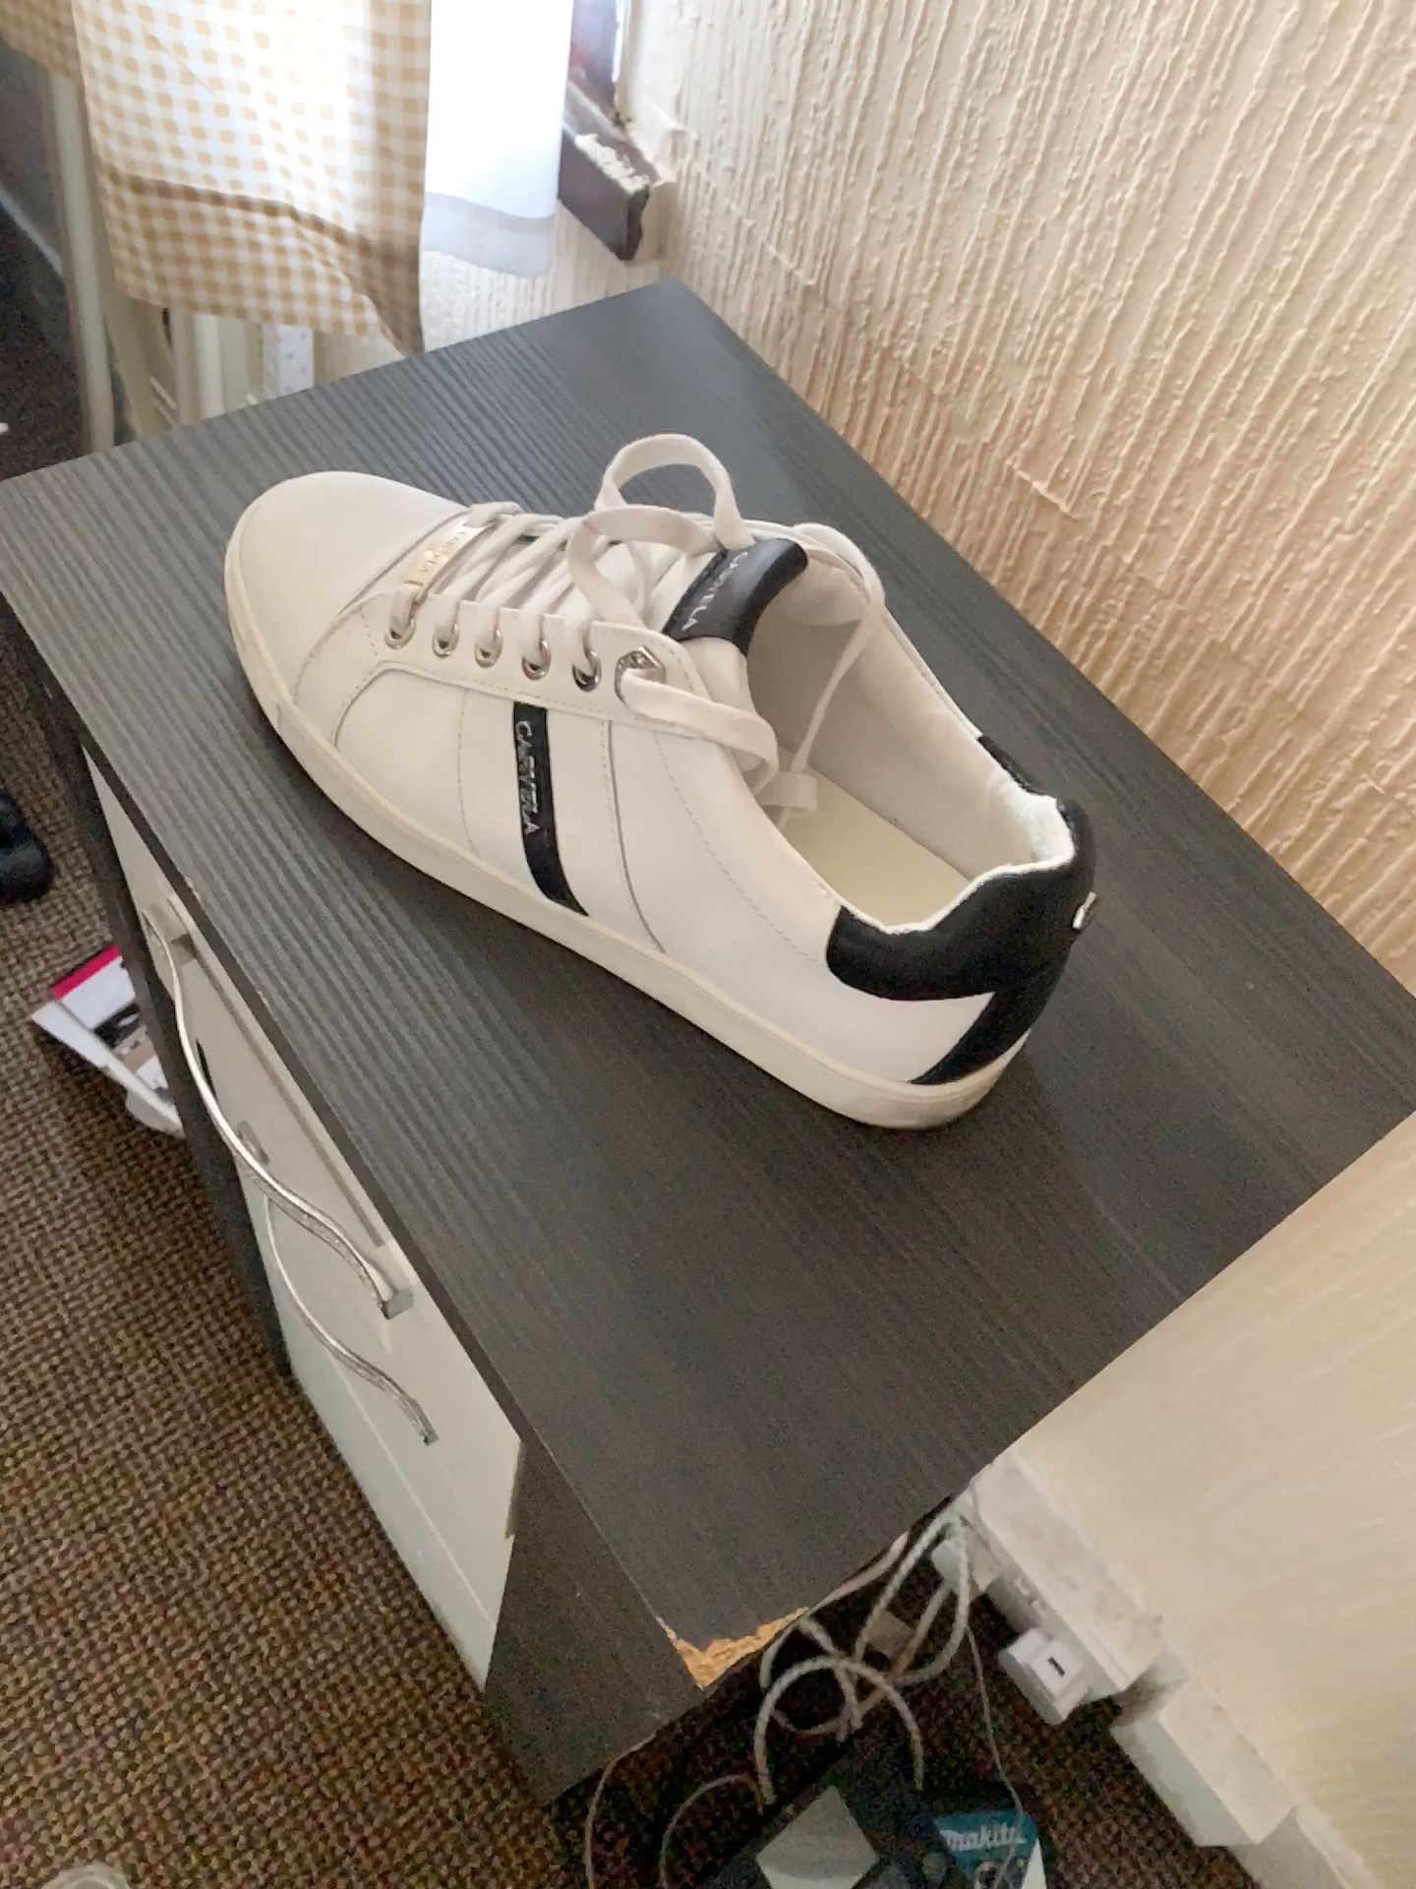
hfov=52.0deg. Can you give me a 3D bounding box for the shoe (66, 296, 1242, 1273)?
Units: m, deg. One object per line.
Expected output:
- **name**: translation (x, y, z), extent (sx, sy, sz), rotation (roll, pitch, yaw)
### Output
- **shoe**: translation (-0.018, -0.046, 0.371), extent (0.260, 0.087, 0.104), rotation (33, 58, 11)
